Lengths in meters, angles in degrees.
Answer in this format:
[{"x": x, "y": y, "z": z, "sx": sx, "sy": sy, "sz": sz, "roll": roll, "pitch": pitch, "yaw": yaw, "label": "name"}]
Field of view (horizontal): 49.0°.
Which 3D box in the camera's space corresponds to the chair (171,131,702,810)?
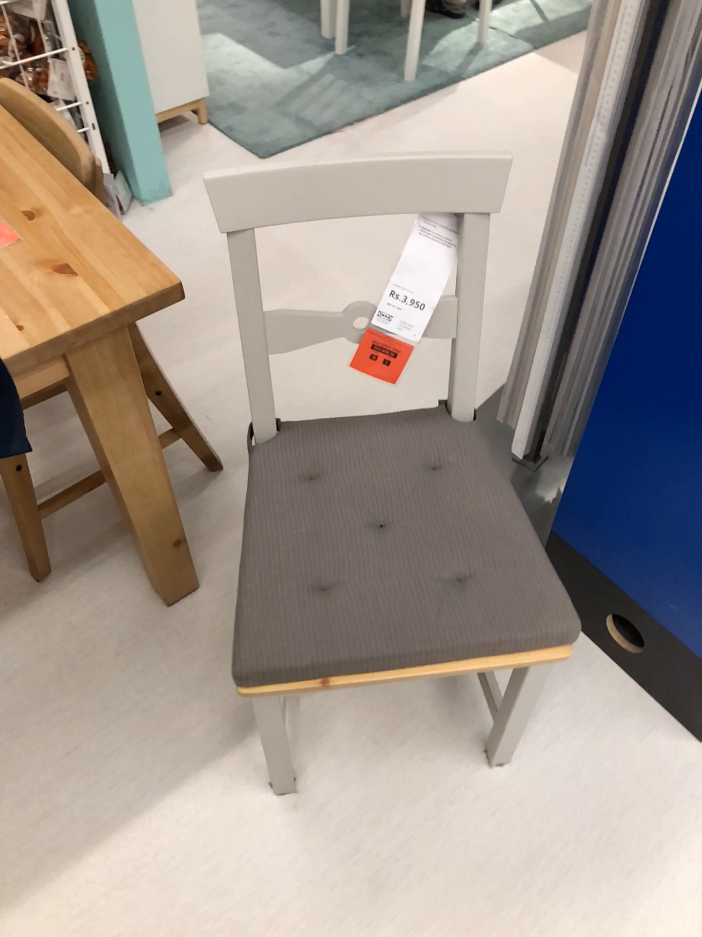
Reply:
[{"x": 0.054, "y": 0.059, "z": 1.015, "sx": 0.430, "sy": 0.765, "sz": 0.473, "roll": -6, "pitch": 51, "yaw": -5, "label": "chair"}]
